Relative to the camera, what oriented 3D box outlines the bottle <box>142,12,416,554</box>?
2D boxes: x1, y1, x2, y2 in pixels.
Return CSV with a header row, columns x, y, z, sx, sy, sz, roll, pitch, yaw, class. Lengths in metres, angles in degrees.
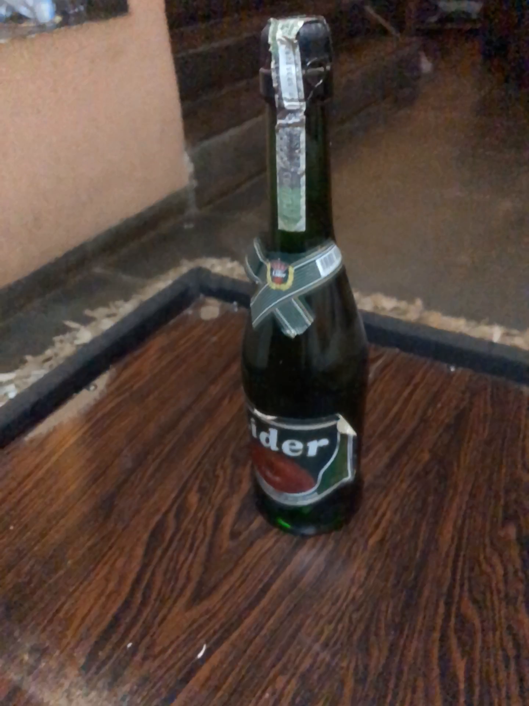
x,y,z,sx,sy,sz,roll,pitch,yaw,class
0.016,-0.025,0.337,0.090,0.288,0.081,19,41,30,bottle
